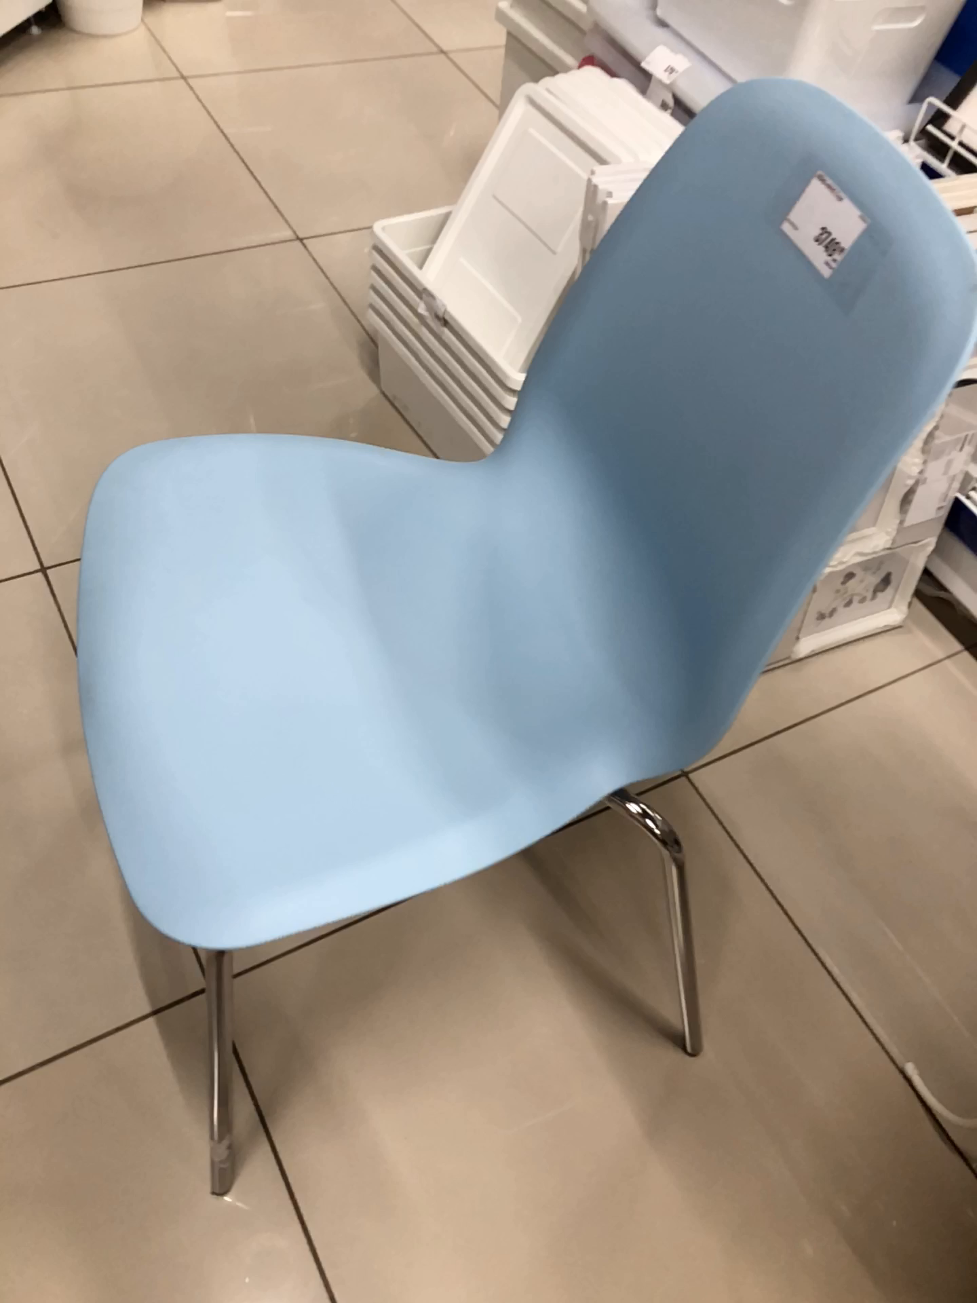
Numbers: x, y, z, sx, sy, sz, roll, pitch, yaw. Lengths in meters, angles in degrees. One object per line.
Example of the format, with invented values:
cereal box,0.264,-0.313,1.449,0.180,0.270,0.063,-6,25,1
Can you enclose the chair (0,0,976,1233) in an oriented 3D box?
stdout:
chair,-0.034,-0.008,0.848,0.541,0.755,0.563,-12,55,-18
